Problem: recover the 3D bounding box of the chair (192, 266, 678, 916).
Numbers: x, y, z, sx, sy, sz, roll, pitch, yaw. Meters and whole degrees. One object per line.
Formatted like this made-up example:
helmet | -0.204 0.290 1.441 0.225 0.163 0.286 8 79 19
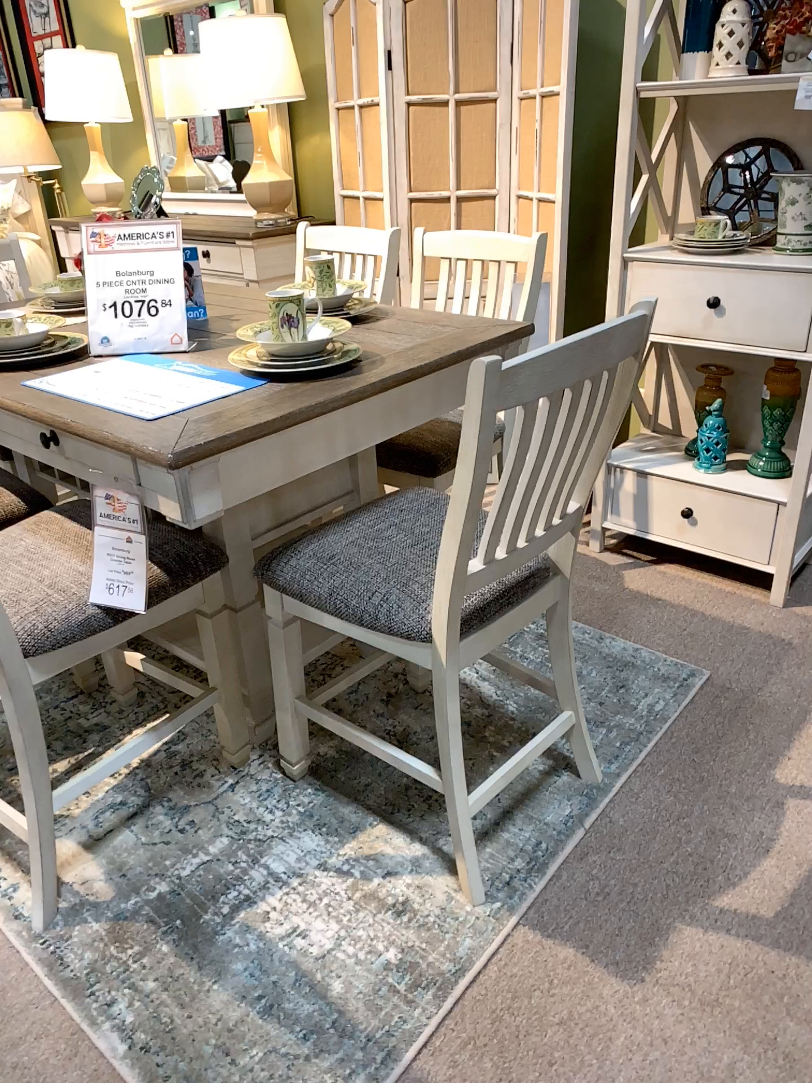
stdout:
chair | 0.055 0.035 1.506 0.592 0.925 0.491 21 34 38
